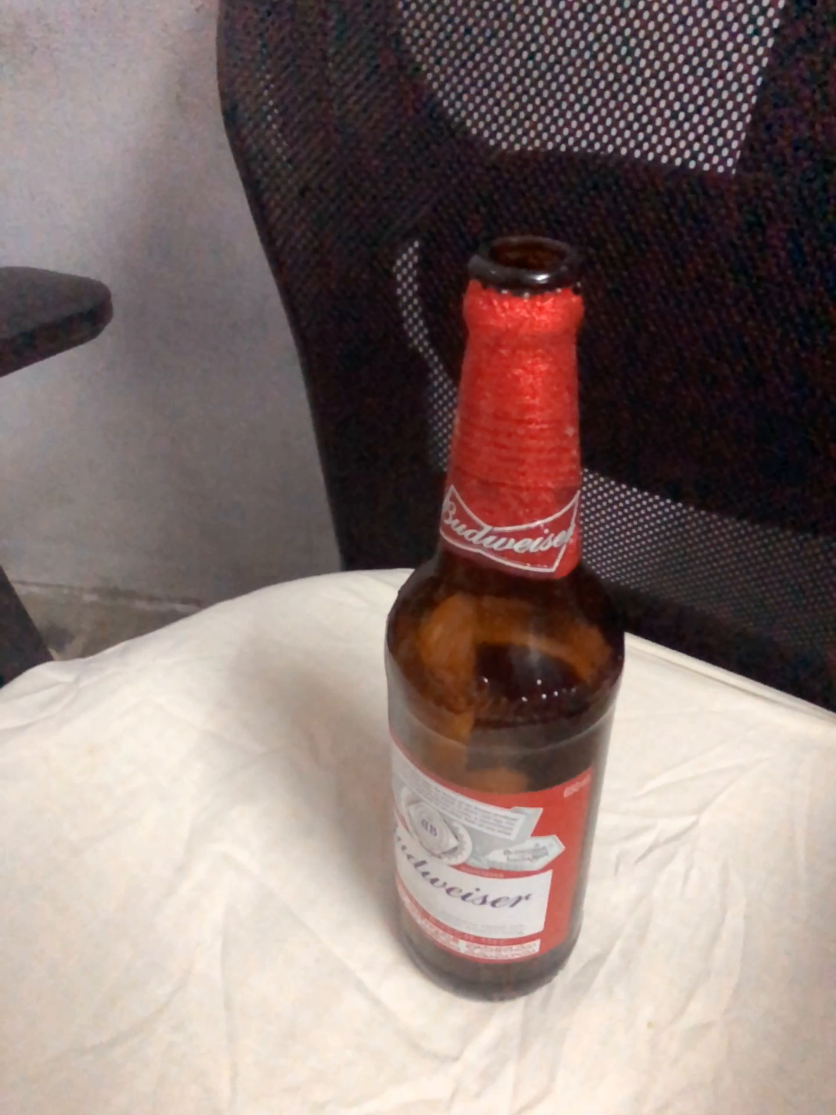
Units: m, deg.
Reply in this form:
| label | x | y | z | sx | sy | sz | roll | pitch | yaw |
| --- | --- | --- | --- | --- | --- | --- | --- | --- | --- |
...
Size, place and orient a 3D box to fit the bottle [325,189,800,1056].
| label | x | y | z | sx | sy | sz | roll | pitch | yaw |
| --- | --- | --- | --- | --- | --- | --- | --- | --- | --- |
| bottle | 0.033 | 0.044 | 0.292 | 0.080 | 0.279 | 0.070 | 24 | 46 | 26 |
